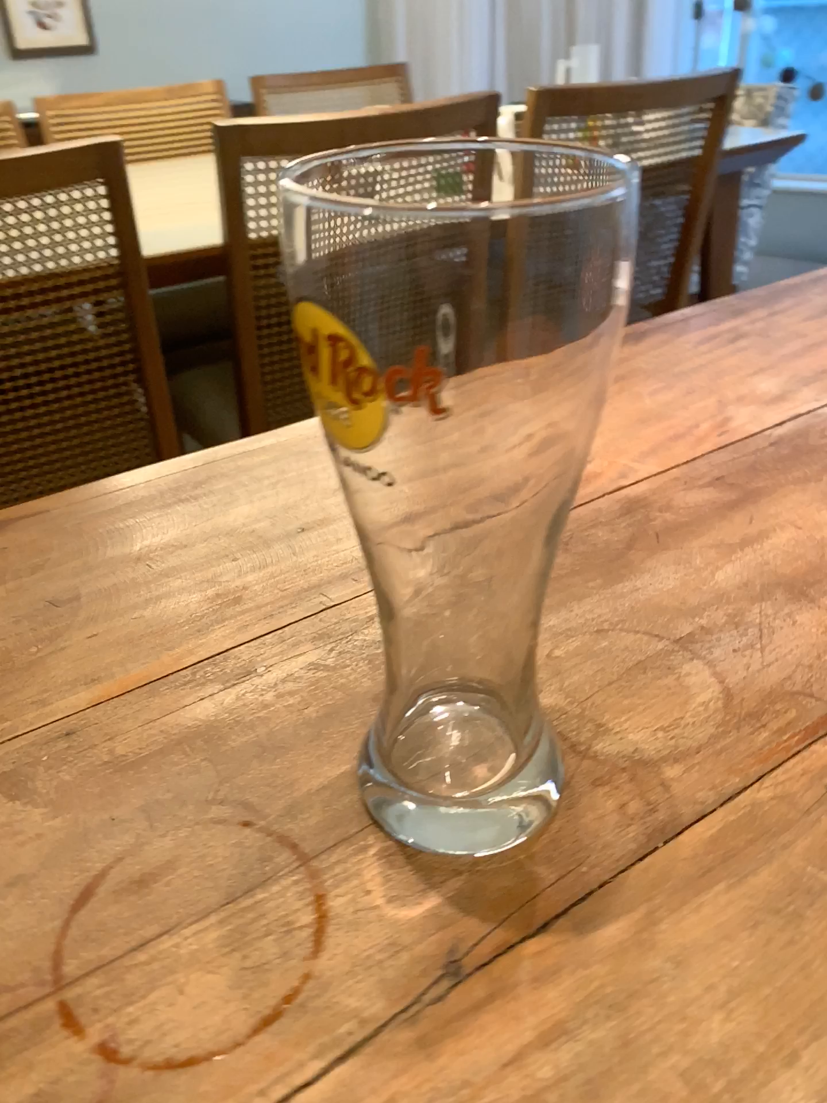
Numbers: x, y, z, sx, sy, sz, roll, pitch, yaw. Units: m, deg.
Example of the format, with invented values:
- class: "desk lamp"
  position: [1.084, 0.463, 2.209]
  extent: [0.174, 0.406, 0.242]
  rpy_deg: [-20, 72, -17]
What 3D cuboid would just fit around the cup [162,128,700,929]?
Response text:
- class: "cup"
  position: [0.010, -0.006, 0.255]
  extent: [0.090, 0.201, 0.090]
  rpy_deg: [-4, 33, 3]
